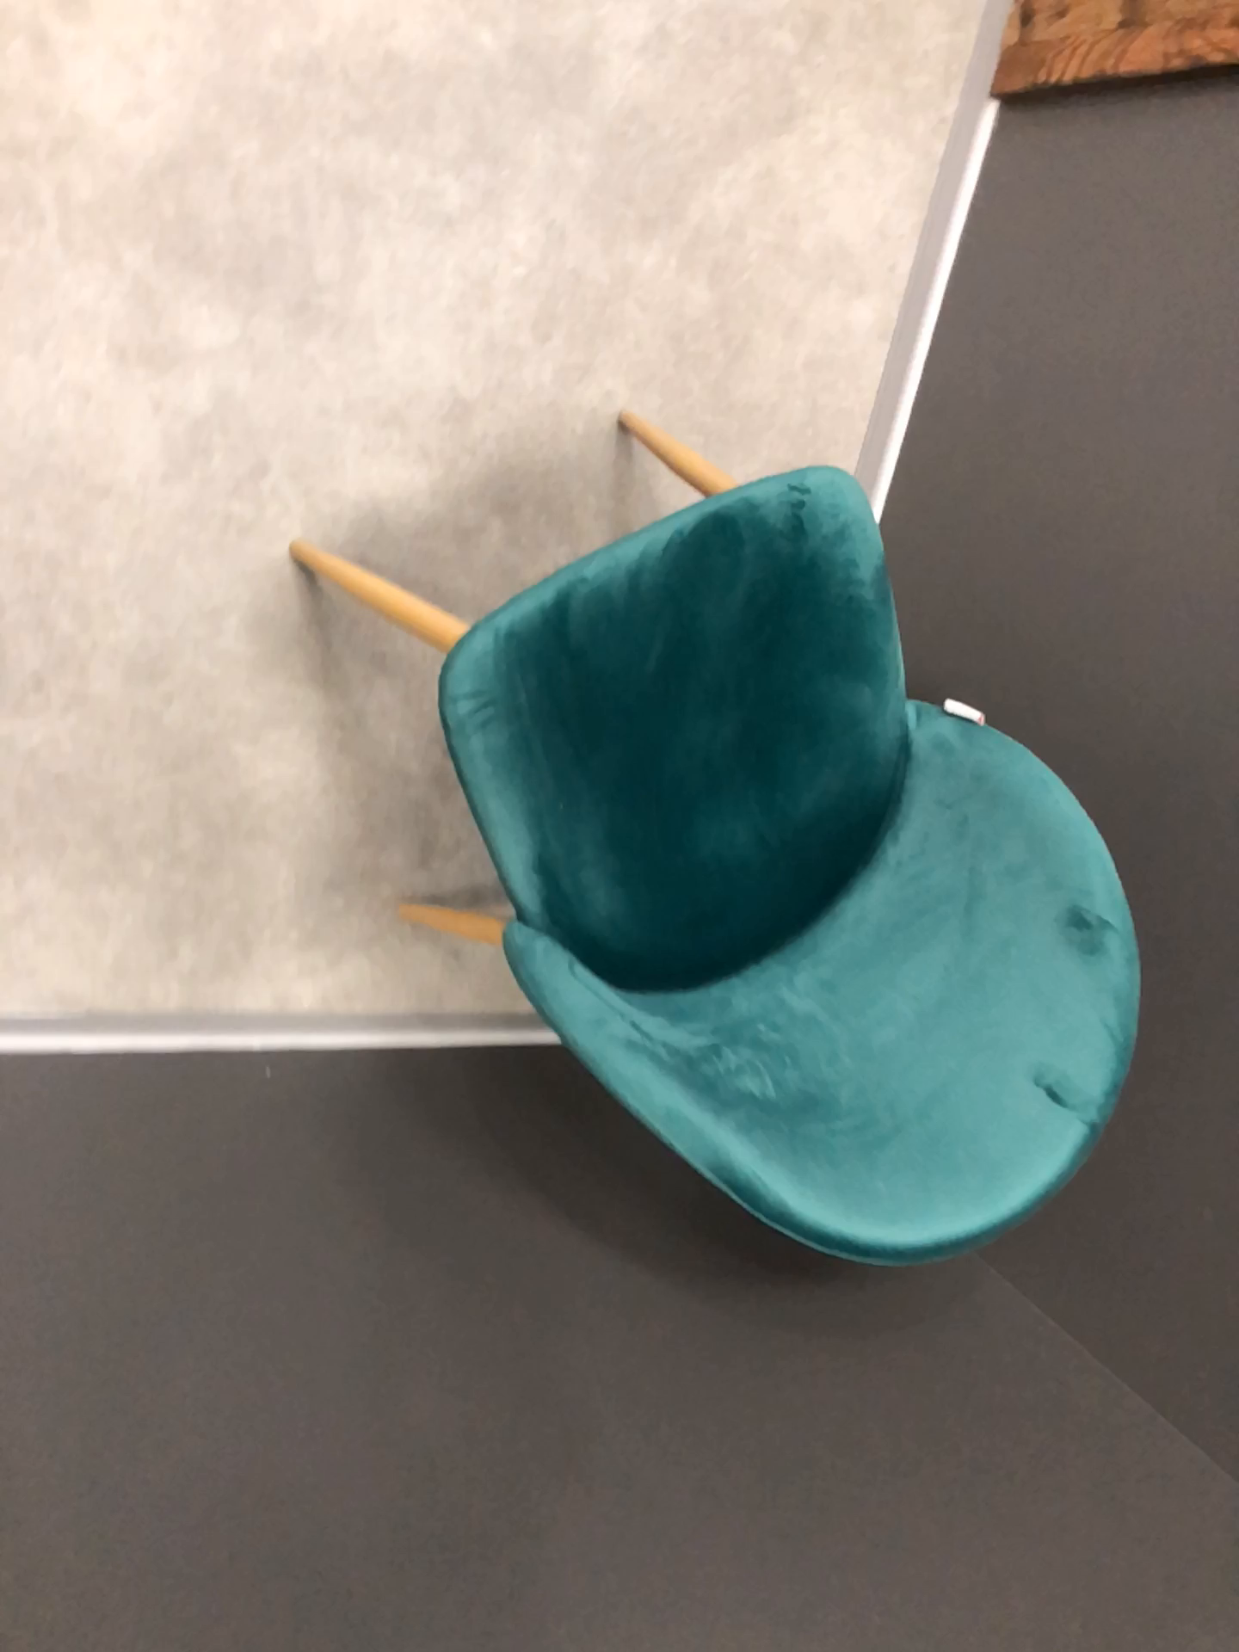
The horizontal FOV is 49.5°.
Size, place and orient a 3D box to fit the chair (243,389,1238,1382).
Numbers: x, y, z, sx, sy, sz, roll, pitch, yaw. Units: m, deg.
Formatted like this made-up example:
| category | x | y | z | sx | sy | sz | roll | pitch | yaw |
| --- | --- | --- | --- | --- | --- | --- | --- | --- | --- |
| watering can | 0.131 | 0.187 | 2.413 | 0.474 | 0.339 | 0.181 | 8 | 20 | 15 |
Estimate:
| category | x | y | z | sx | sy | sz | roll | pitch | yaw |
| --- | --- | --- | --- | --- | --- | --- | --- | --- | --- |
| chair | 0.078 | -0.048 | 1.366 | 0.541 | 0.857 | 0.541 | -28 | 121 | -17 |
